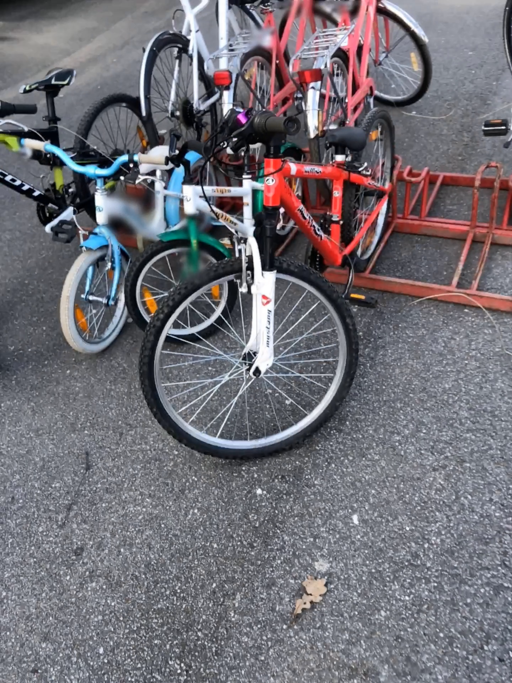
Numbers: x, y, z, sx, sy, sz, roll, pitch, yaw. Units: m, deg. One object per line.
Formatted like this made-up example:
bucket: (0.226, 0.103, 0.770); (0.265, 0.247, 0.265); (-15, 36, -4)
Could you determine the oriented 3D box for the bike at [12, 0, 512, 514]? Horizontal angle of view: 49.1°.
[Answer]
bike: (0.178, -0.398, 1.730); (0.552, 0.908, 1.449); (21, 50, 27)
